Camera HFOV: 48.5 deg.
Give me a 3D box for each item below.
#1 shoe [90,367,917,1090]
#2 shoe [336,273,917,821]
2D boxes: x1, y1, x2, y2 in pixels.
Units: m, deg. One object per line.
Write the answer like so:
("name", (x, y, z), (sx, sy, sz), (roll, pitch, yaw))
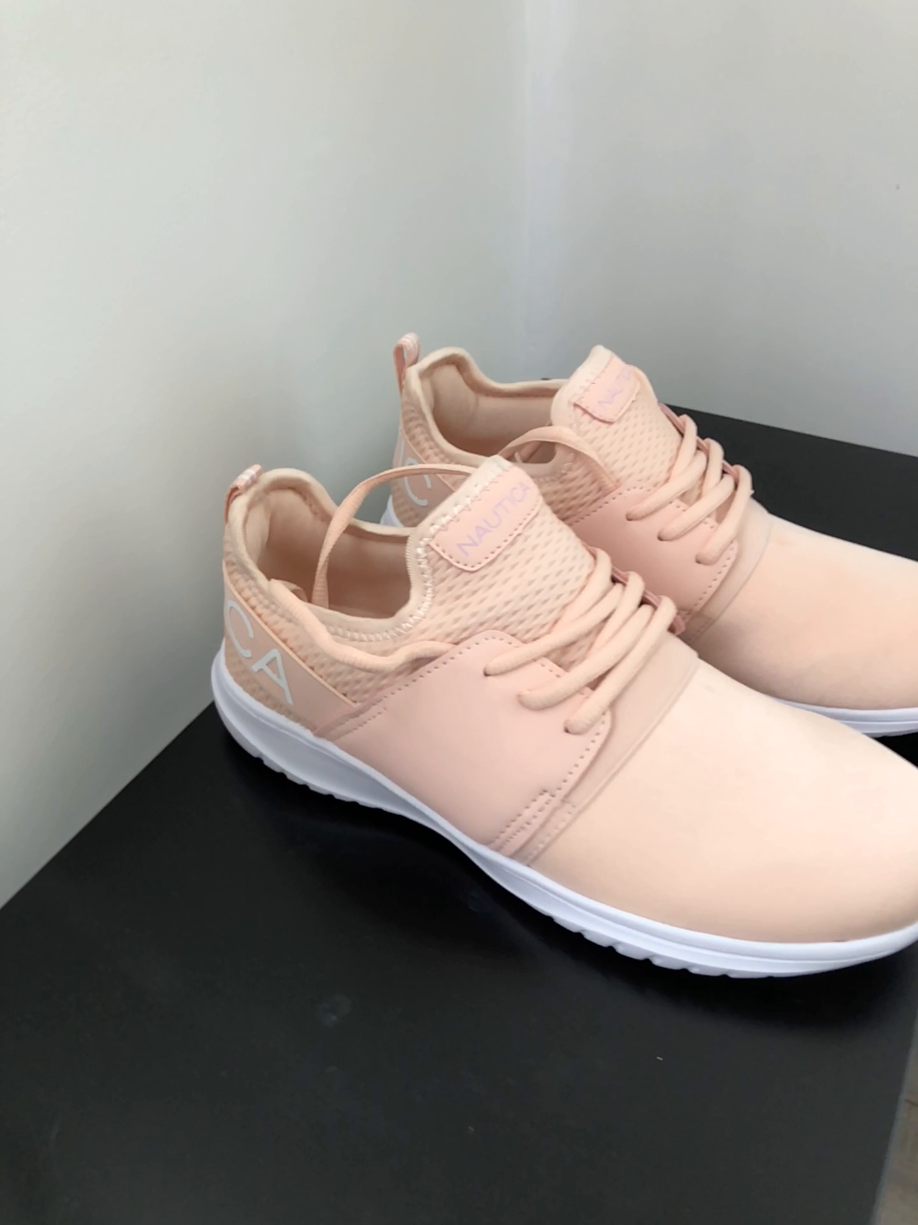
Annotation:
("shoe", (0.028, 0.019, 0.314), (0.250, 0.110, 0.100), (18, 42, 22))
("shoe", (0.087, -0.037, 0.378), (0.240, 0.110, 0.100), (18, 42, 22))
